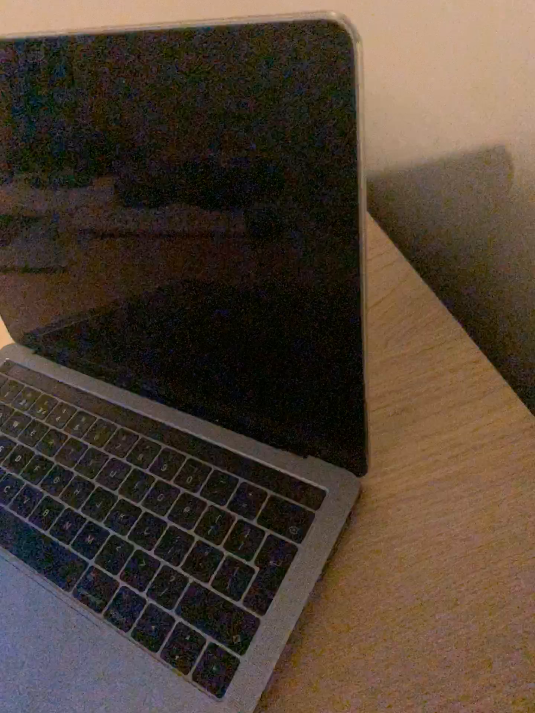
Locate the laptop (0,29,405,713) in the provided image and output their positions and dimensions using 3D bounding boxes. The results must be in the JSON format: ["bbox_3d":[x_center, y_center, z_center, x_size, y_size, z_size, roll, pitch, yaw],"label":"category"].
[{"bbox_3d":[-0.136,0.024,0.252,0.295,0.197,0.257,16,58,31],"label":"laptop"}]
